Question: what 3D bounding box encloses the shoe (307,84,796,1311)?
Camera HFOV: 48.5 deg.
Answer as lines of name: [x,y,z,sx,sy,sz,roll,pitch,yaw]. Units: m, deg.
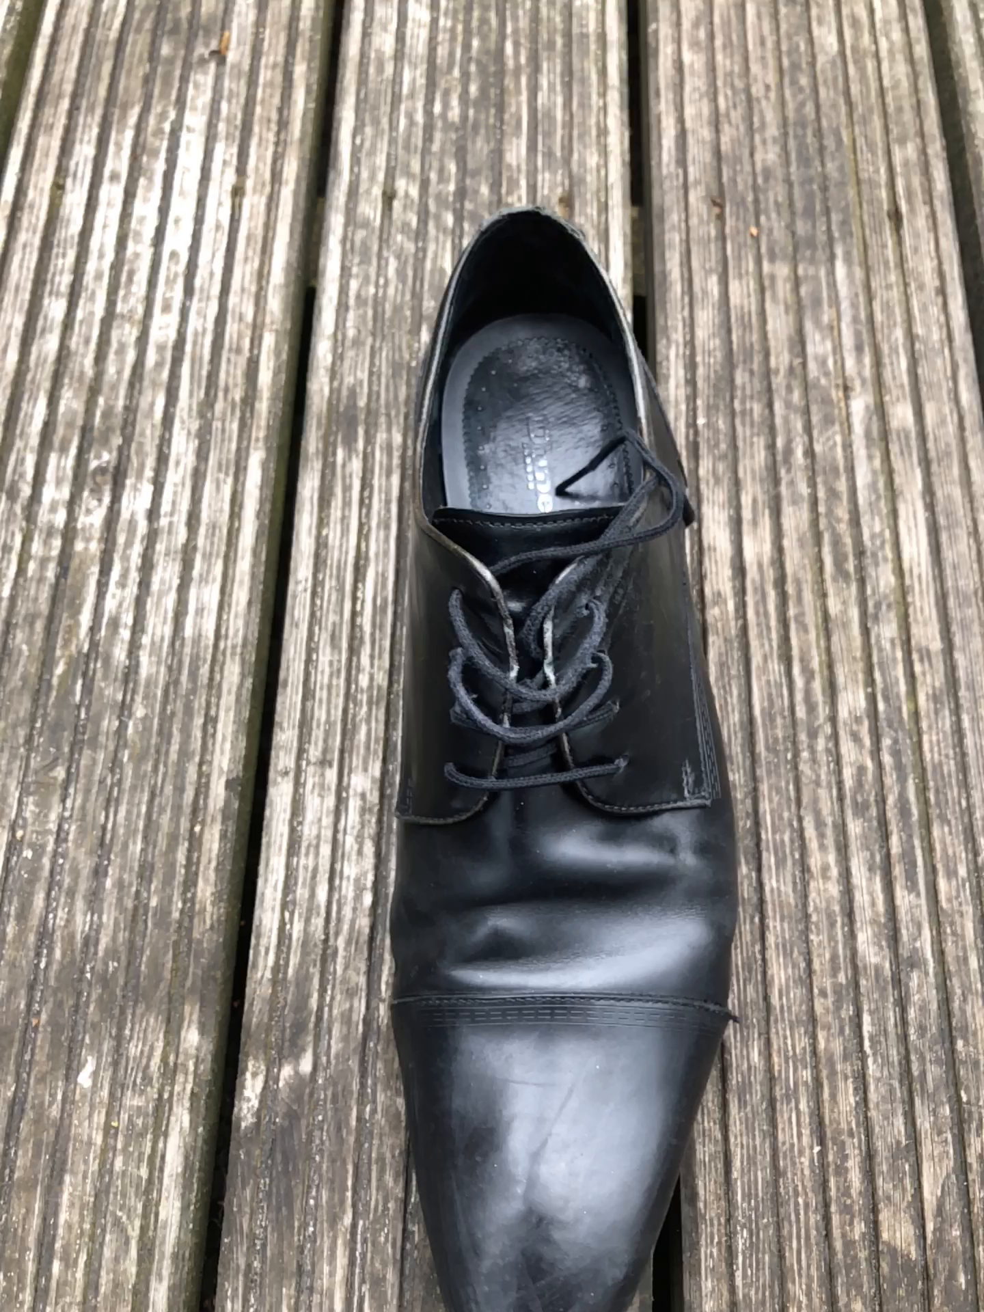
shoe: [0.011,0.019,0.330,0.090,0.150,0.341,0,70,0]
